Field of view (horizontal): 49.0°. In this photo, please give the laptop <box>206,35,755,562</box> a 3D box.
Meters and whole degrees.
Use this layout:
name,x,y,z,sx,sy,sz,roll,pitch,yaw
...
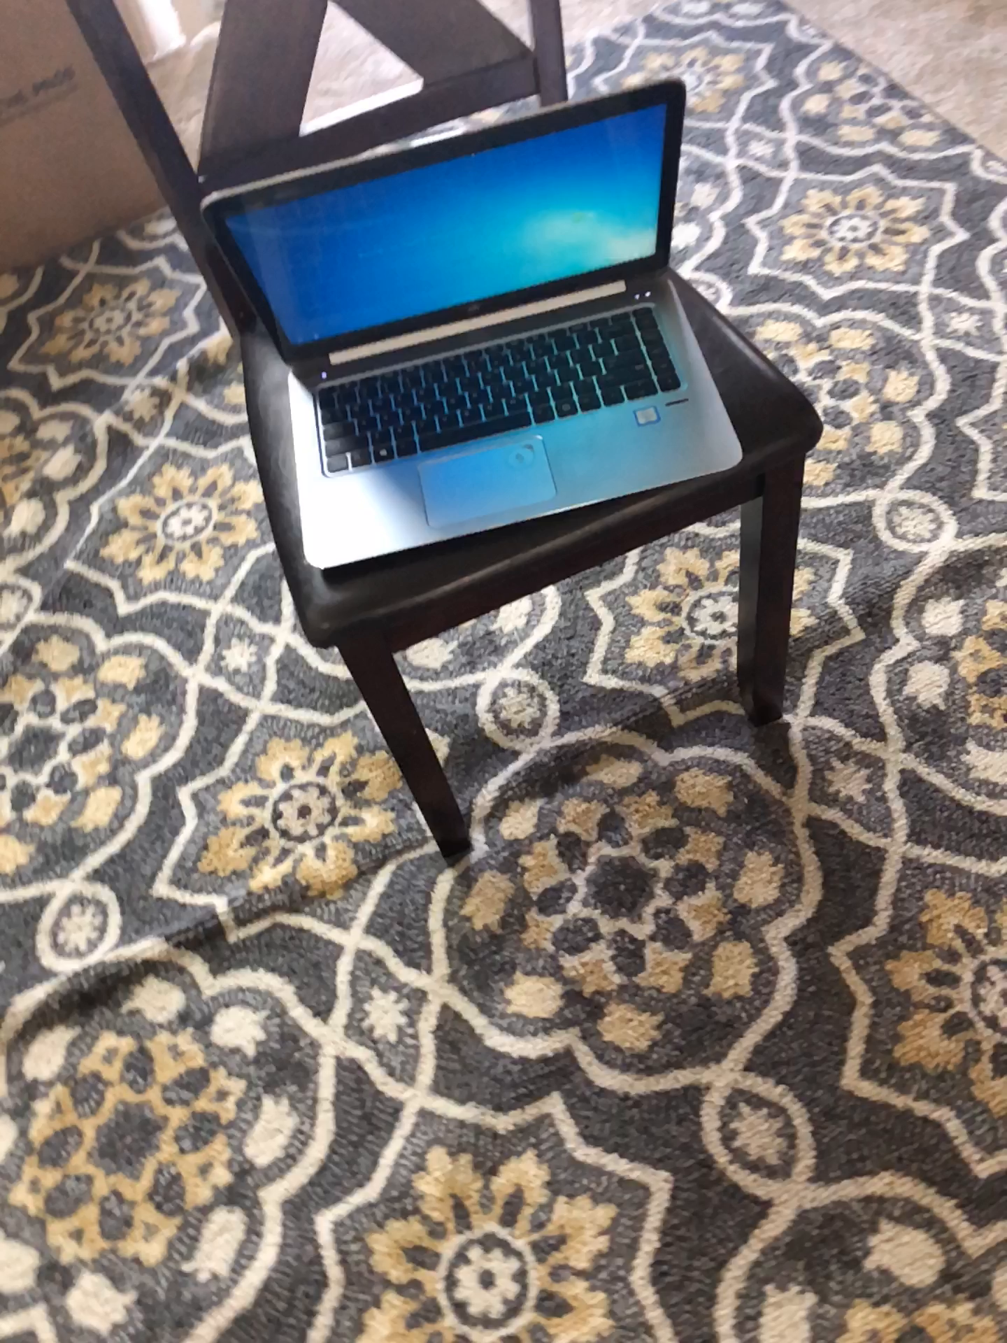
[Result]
name,x,y,z,sx,sy,sz,roll,pitch,yaw
laptop,-0.016,-0.256,0.773,0.323,0.194,0.212,-13,55,1
